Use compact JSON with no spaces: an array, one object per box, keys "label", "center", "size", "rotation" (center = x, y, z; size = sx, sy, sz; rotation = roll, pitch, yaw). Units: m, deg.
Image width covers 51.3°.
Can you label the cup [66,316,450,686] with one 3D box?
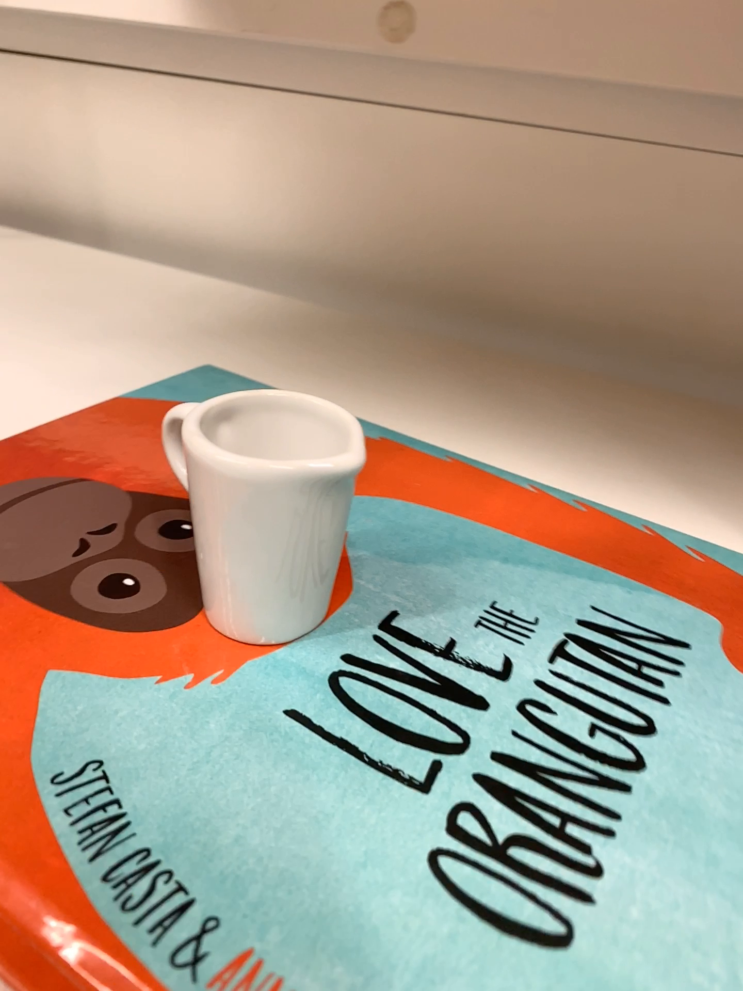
[{"label":"cup","center":[-0.028,-0.004,0.183],"size":[0.070,0.050,0.050],"rotation":[28,36,33]}]
